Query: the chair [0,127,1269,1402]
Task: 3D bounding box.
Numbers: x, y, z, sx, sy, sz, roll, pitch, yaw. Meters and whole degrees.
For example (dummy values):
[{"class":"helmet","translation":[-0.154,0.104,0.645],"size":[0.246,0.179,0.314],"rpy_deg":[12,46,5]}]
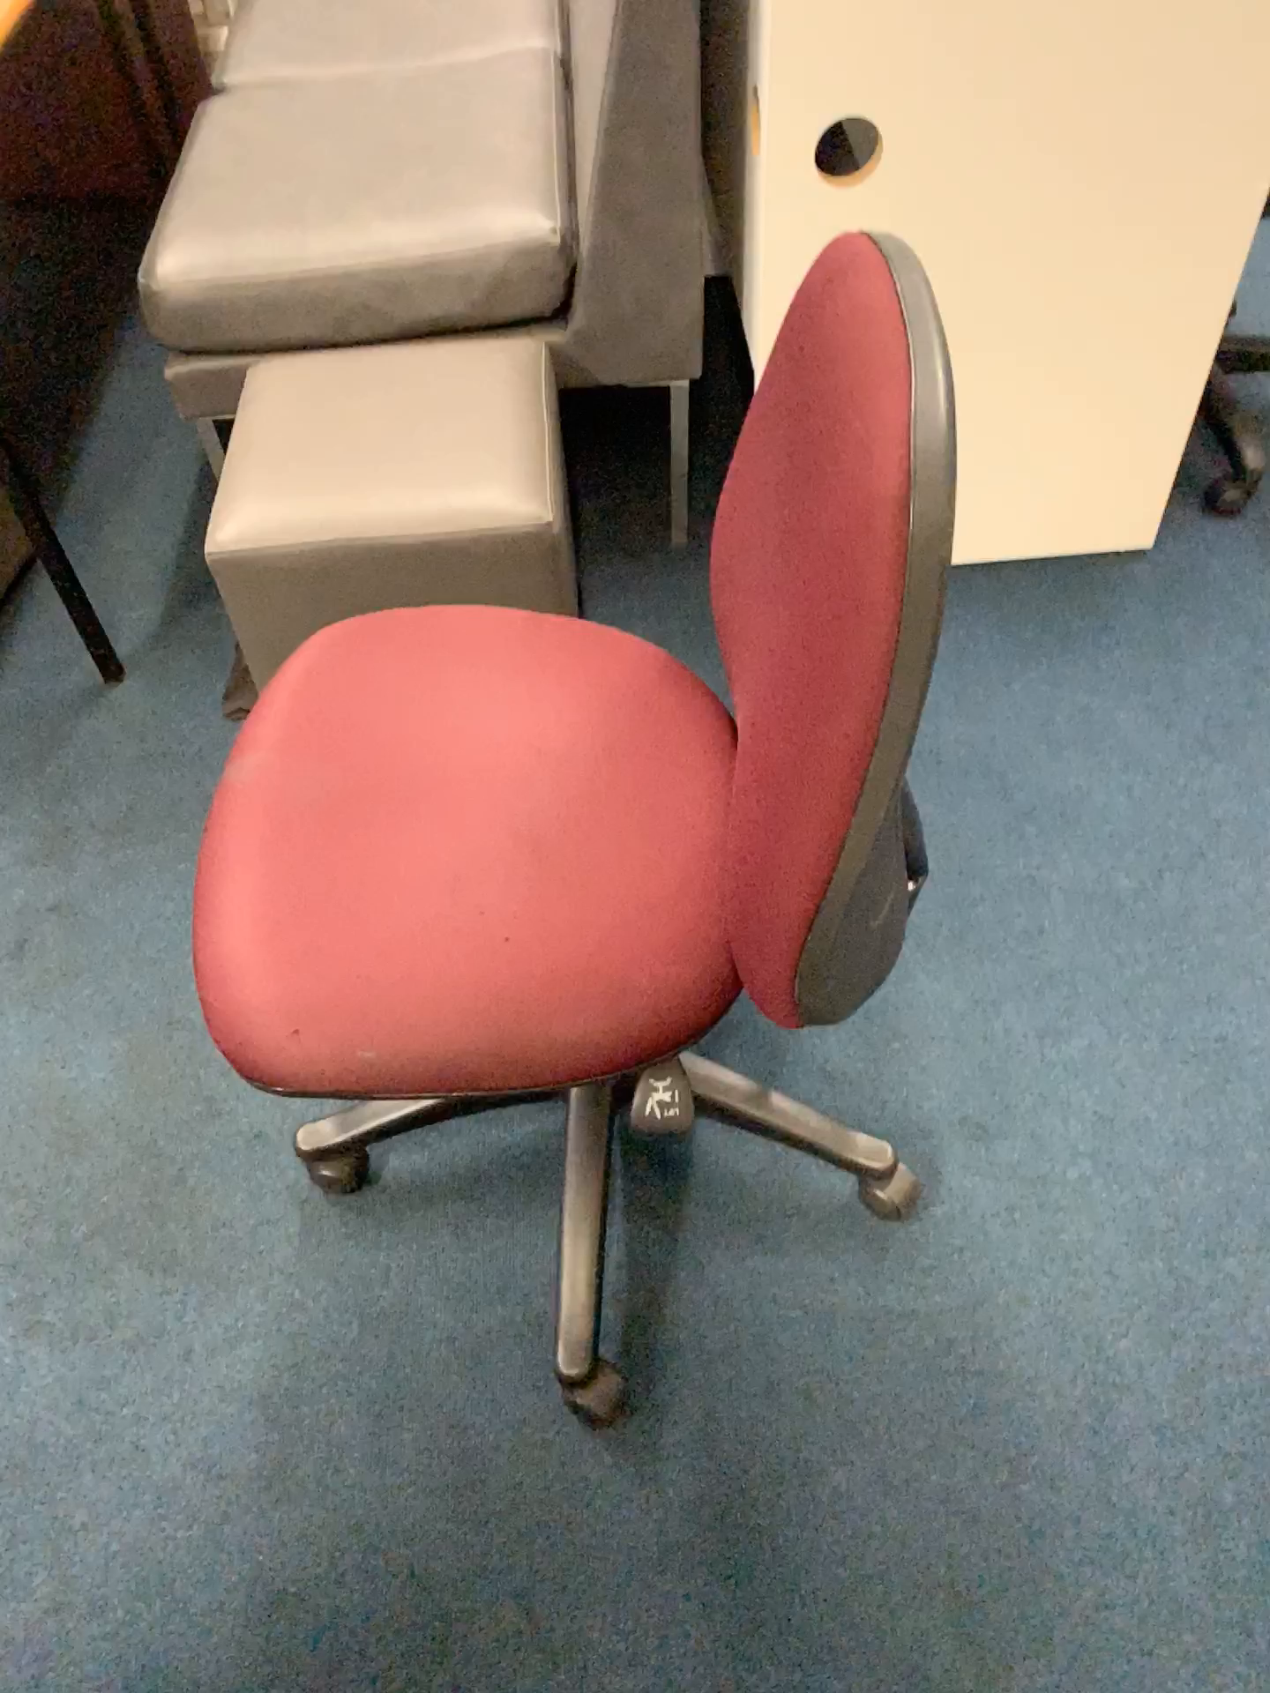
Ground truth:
[{"class":"chair","translation":[-0.047,-0.013,1.043],"size":[0.690,0.783,0.656],"rpy_deg":[-1,50,3]}]
